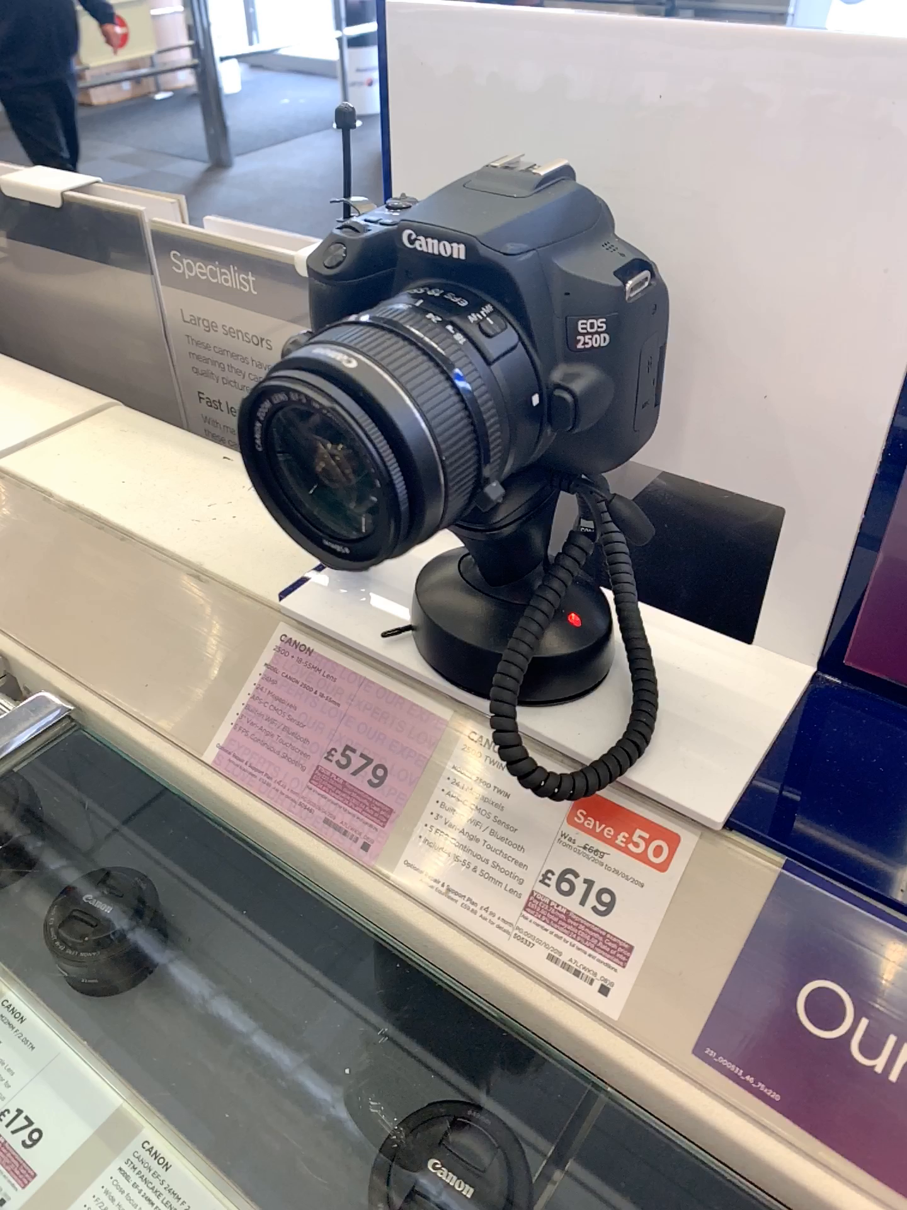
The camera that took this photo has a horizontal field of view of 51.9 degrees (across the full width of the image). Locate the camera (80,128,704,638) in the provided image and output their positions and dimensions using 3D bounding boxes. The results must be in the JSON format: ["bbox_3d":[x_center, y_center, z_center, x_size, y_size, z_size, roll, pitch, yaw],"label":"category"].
[{"bbox_3d":[-0.011,-0.083,0.297,0.120,0.089,0.141,22,44,27],"label":"camera"}]
